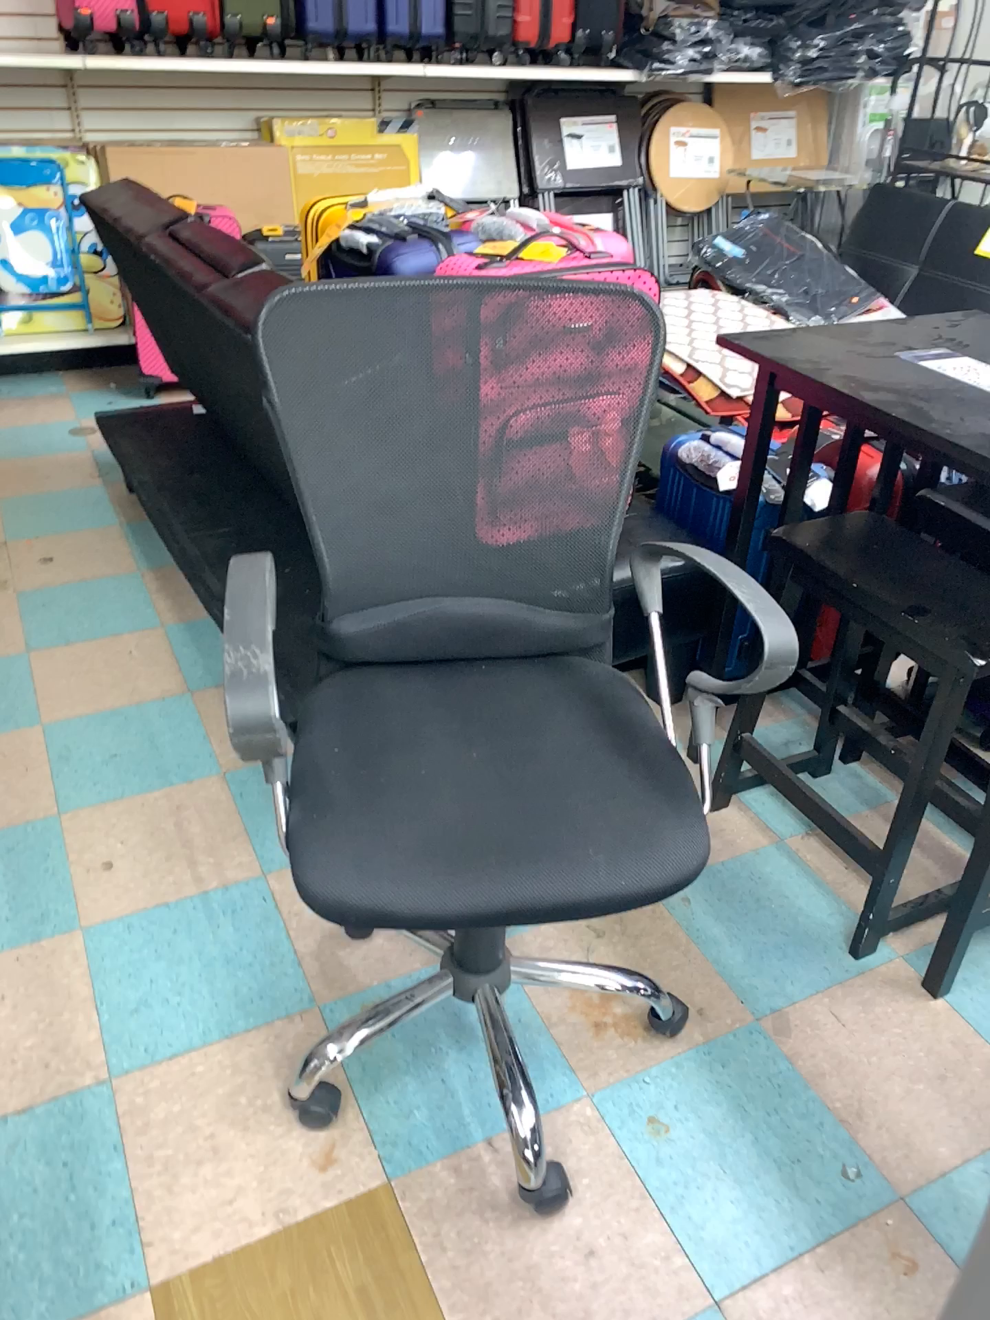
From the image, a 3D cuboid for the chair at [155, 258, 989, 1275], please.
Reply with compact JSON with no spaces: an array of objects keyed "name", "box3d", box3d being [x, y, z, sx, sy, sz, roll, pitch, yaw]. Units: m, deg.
[{"name":"chair","box3d":[0.011,0.120,1.214,0.620,1.019,0.603,-4,34,-10]}]
